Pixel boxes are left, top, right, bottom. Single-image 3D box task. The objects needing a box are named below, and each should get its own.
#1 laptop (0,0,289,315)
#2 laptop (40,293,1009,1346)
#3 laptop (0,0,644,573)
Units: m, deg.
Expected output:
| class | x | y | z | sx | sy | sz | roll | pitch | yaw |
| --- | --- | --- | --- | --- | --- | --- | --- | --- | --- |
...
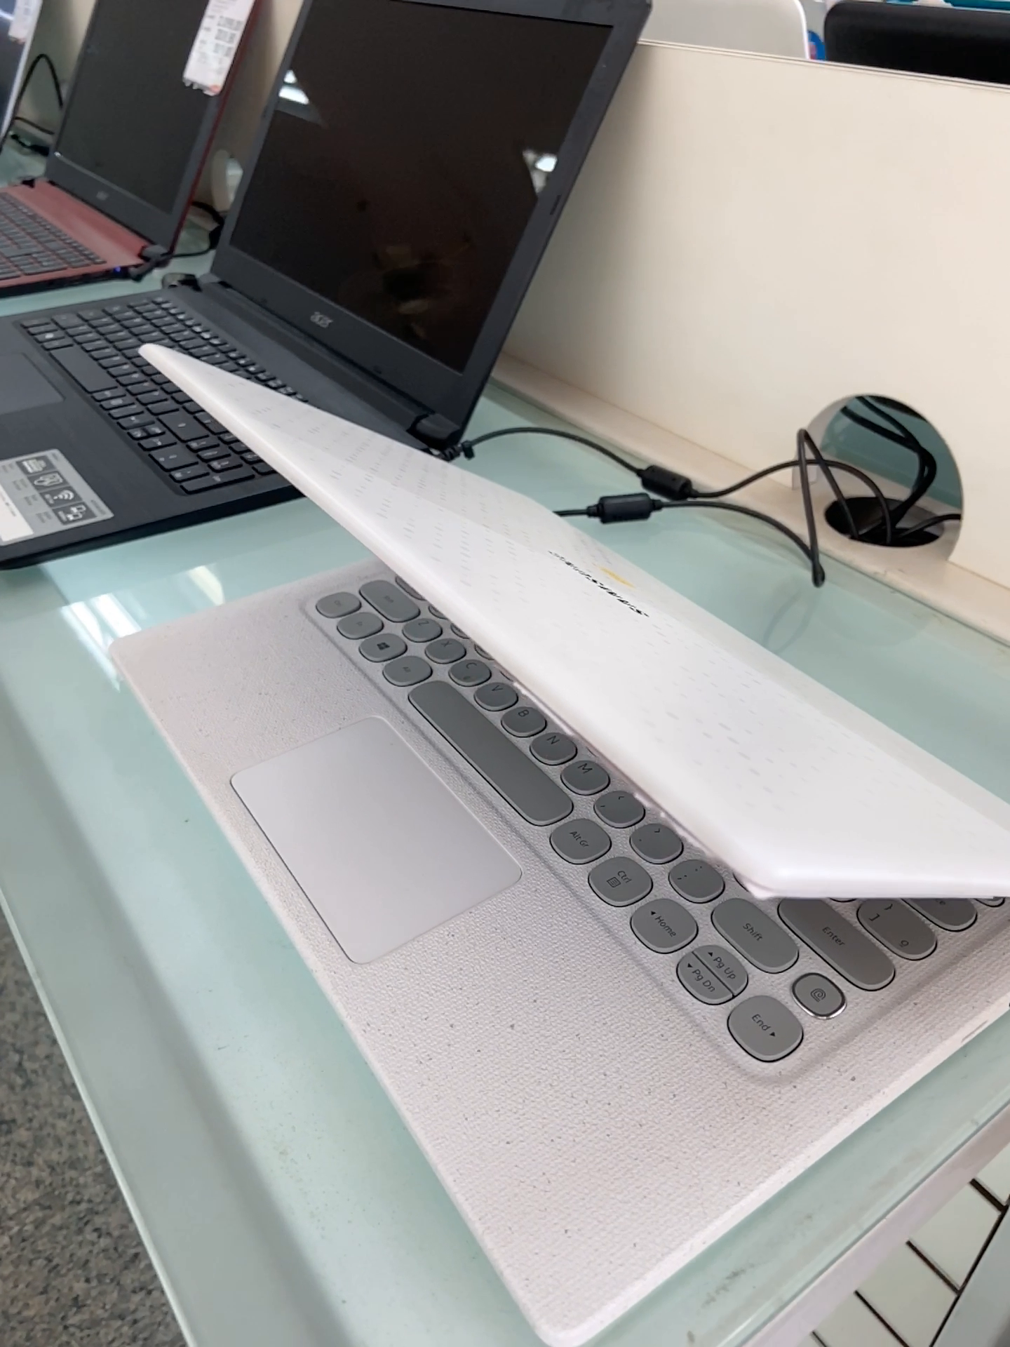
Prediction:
| class | x | y | z | sx | sy | sz | roll | pitch | yaw |
| --- | --- | --- | --- | --- | --- | --- | --- | --- | --- |
| laptop | -0.437 | -0.492 | 0.898 | 0.368 | 0.198 | 0.309 | -24 | 44 | -28 |
| laptop | 0.008 | -0.015 | 0.336 | 0.206 | 0.107 | 0.313 | -22 | 40 | -26 |
| laptop | -0.196 | -0.289 | 0.634 | 0.374 | 0.213 | 0.402 | -21 | 40 | -26 |
